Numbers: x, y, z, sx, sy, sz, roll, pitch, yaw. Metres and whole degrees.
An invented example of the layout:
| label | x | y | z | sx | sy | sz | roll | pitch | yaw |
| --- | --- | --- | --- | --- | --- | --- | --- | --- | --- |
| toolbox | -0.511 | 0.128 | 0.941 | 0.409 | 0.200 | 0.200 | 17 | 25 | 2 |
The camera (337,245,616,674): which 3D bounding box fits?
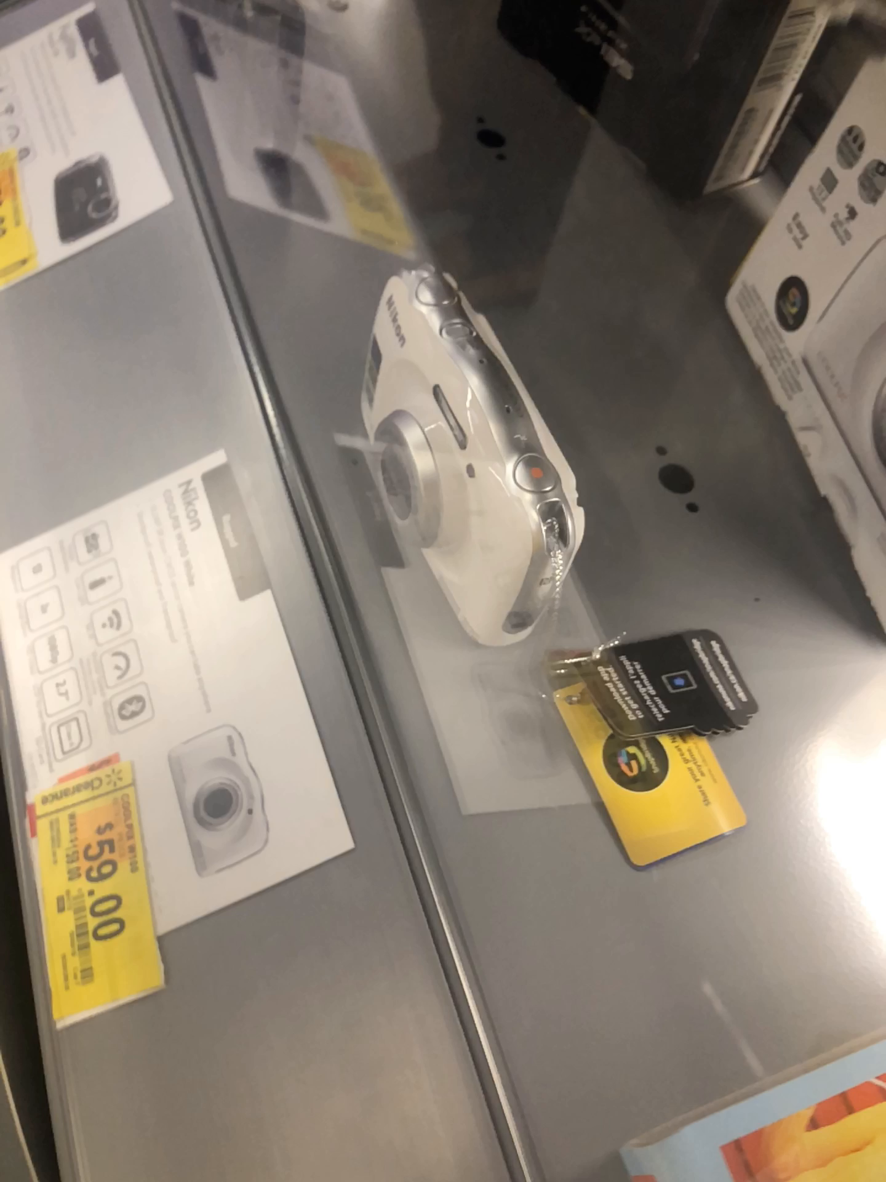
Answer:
| label | x | y | z | sx | sy | sz | roll | pitch | yaw |
| --- | --- | --- | --- | --- | --- | --- | --- | --- | --- |
| camera | 0.004 | -0.040 | 0.294 | 0.030 | 0.060 | 0.110 | -15 | 63 | -20 |
